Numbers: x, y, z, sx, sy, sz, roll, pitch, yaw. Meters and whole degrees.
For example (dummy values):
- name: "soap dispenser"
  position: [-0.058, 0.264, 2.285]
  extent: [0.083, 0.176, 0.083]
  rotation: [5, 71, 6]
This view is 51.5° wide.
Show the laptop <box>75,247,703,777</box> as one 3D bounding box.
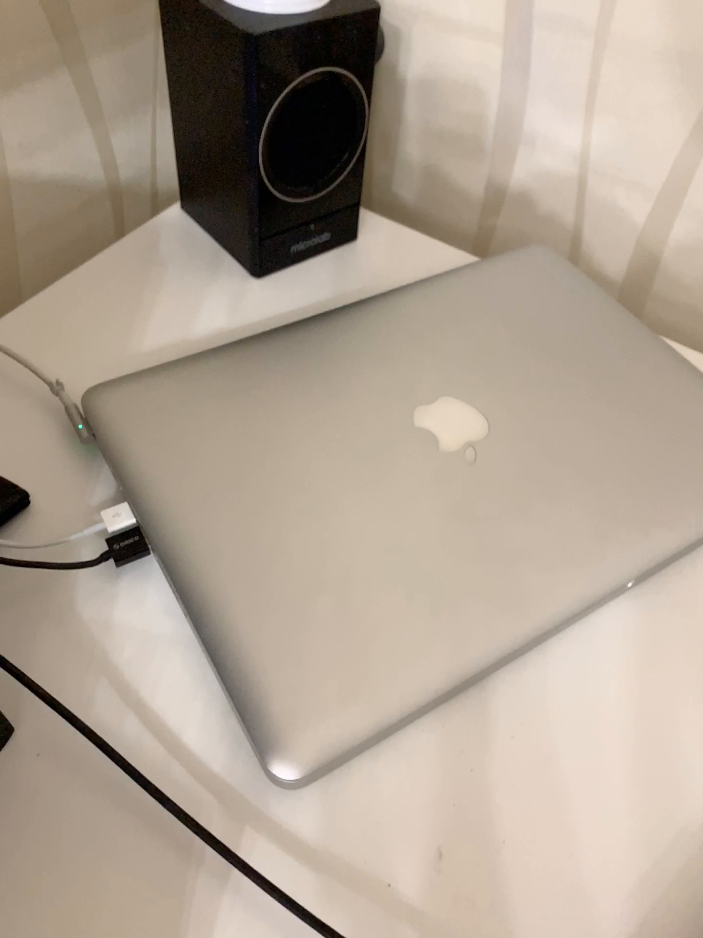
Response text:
- name: "laptop"
  position: [0.045, -0.015, 0.379]
  extent: [0.305, 0.011, 0.208]
  rotation: [-23, 59, -22]
